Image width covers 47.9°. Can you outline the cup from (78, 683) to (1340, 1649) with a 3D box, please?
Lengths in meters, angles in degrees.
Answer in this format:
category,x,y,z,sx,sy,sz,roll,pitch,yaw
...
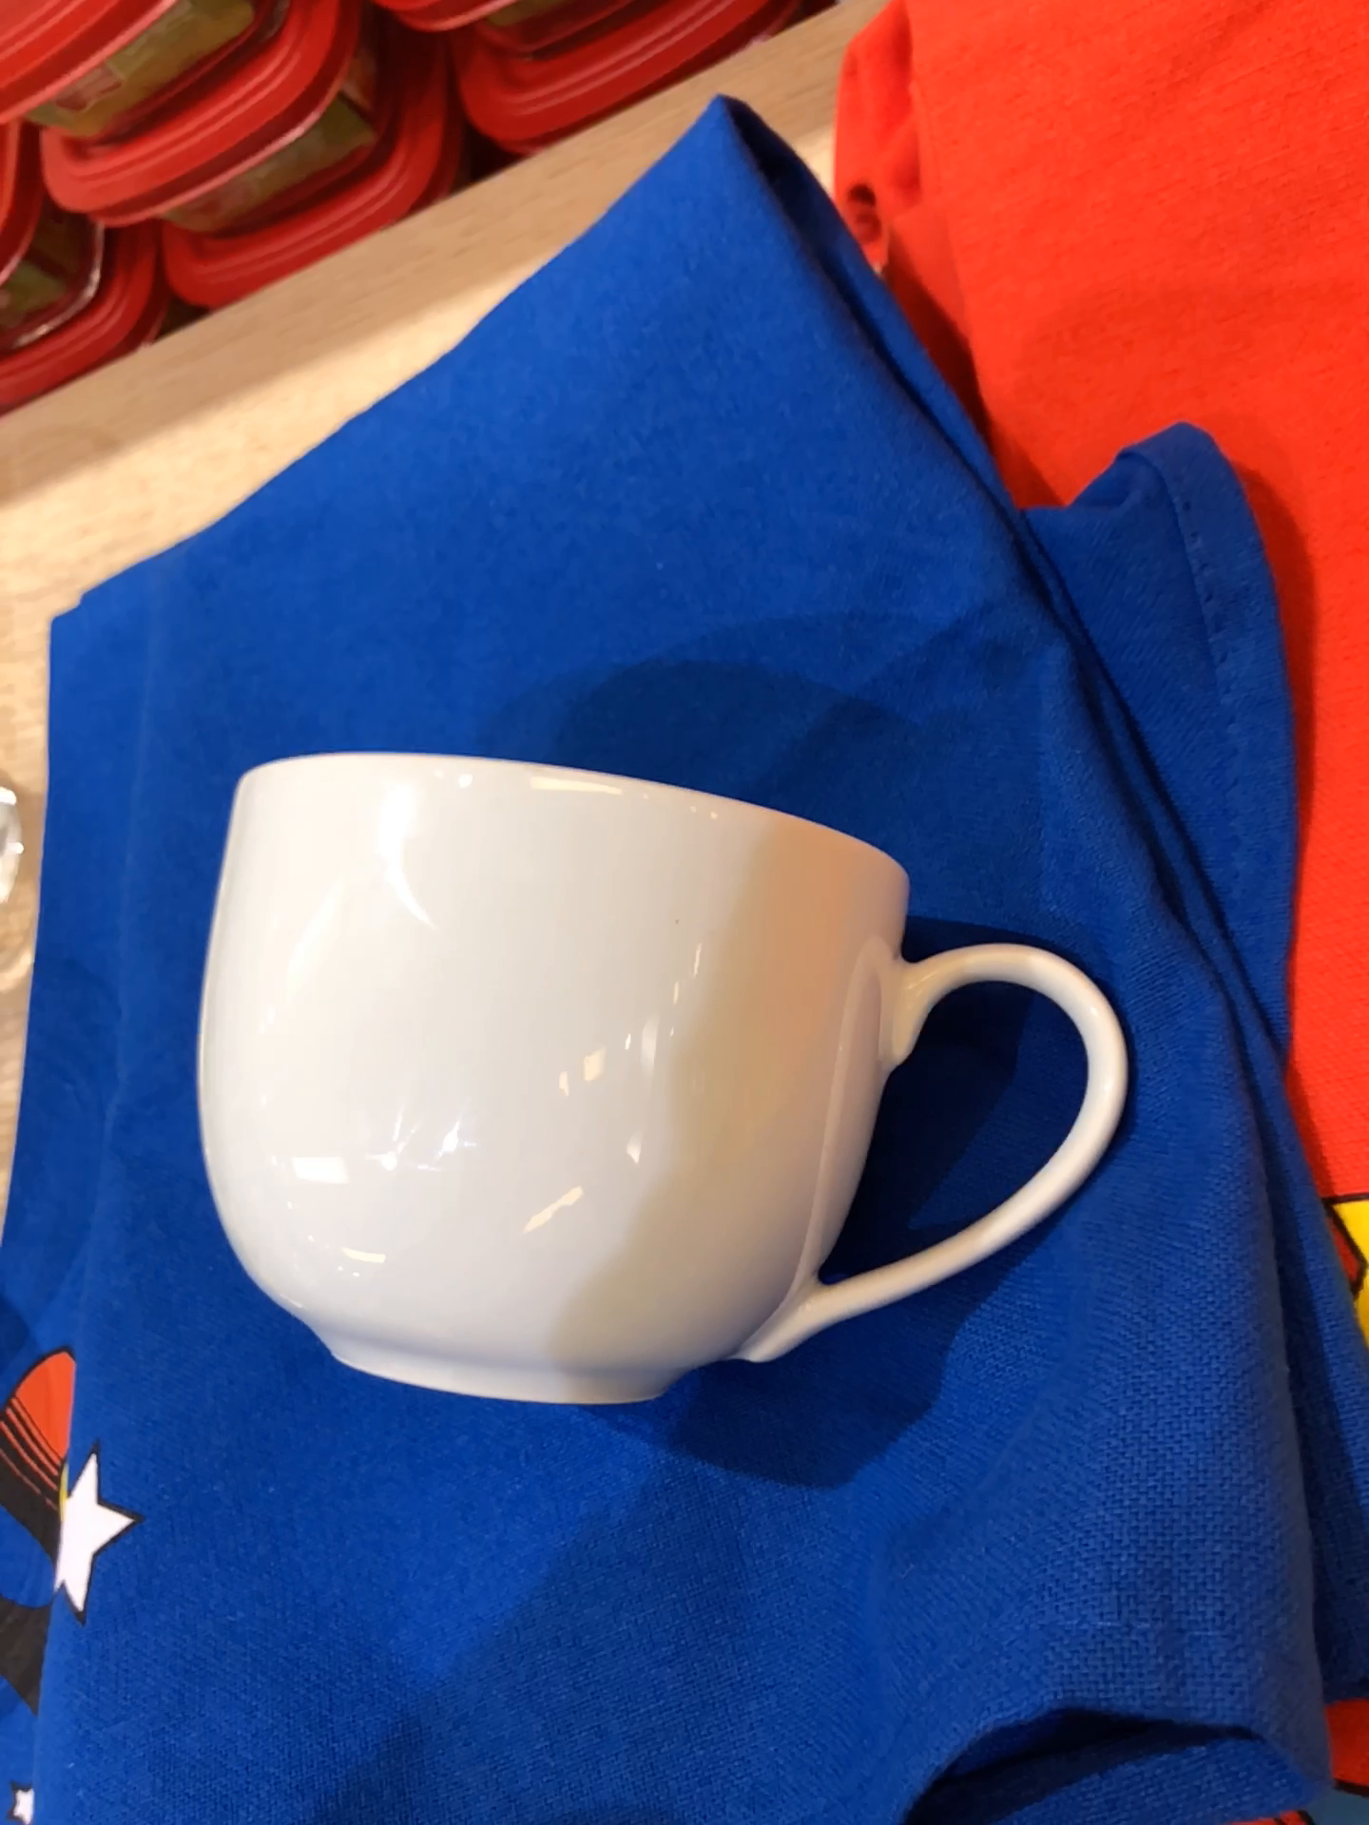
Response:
category,x,y,z,sx,sy,sz,roll,pitch,yaw
cup,0.004,0.031,0.211,0.130,0.080,0.090,8,83,0
